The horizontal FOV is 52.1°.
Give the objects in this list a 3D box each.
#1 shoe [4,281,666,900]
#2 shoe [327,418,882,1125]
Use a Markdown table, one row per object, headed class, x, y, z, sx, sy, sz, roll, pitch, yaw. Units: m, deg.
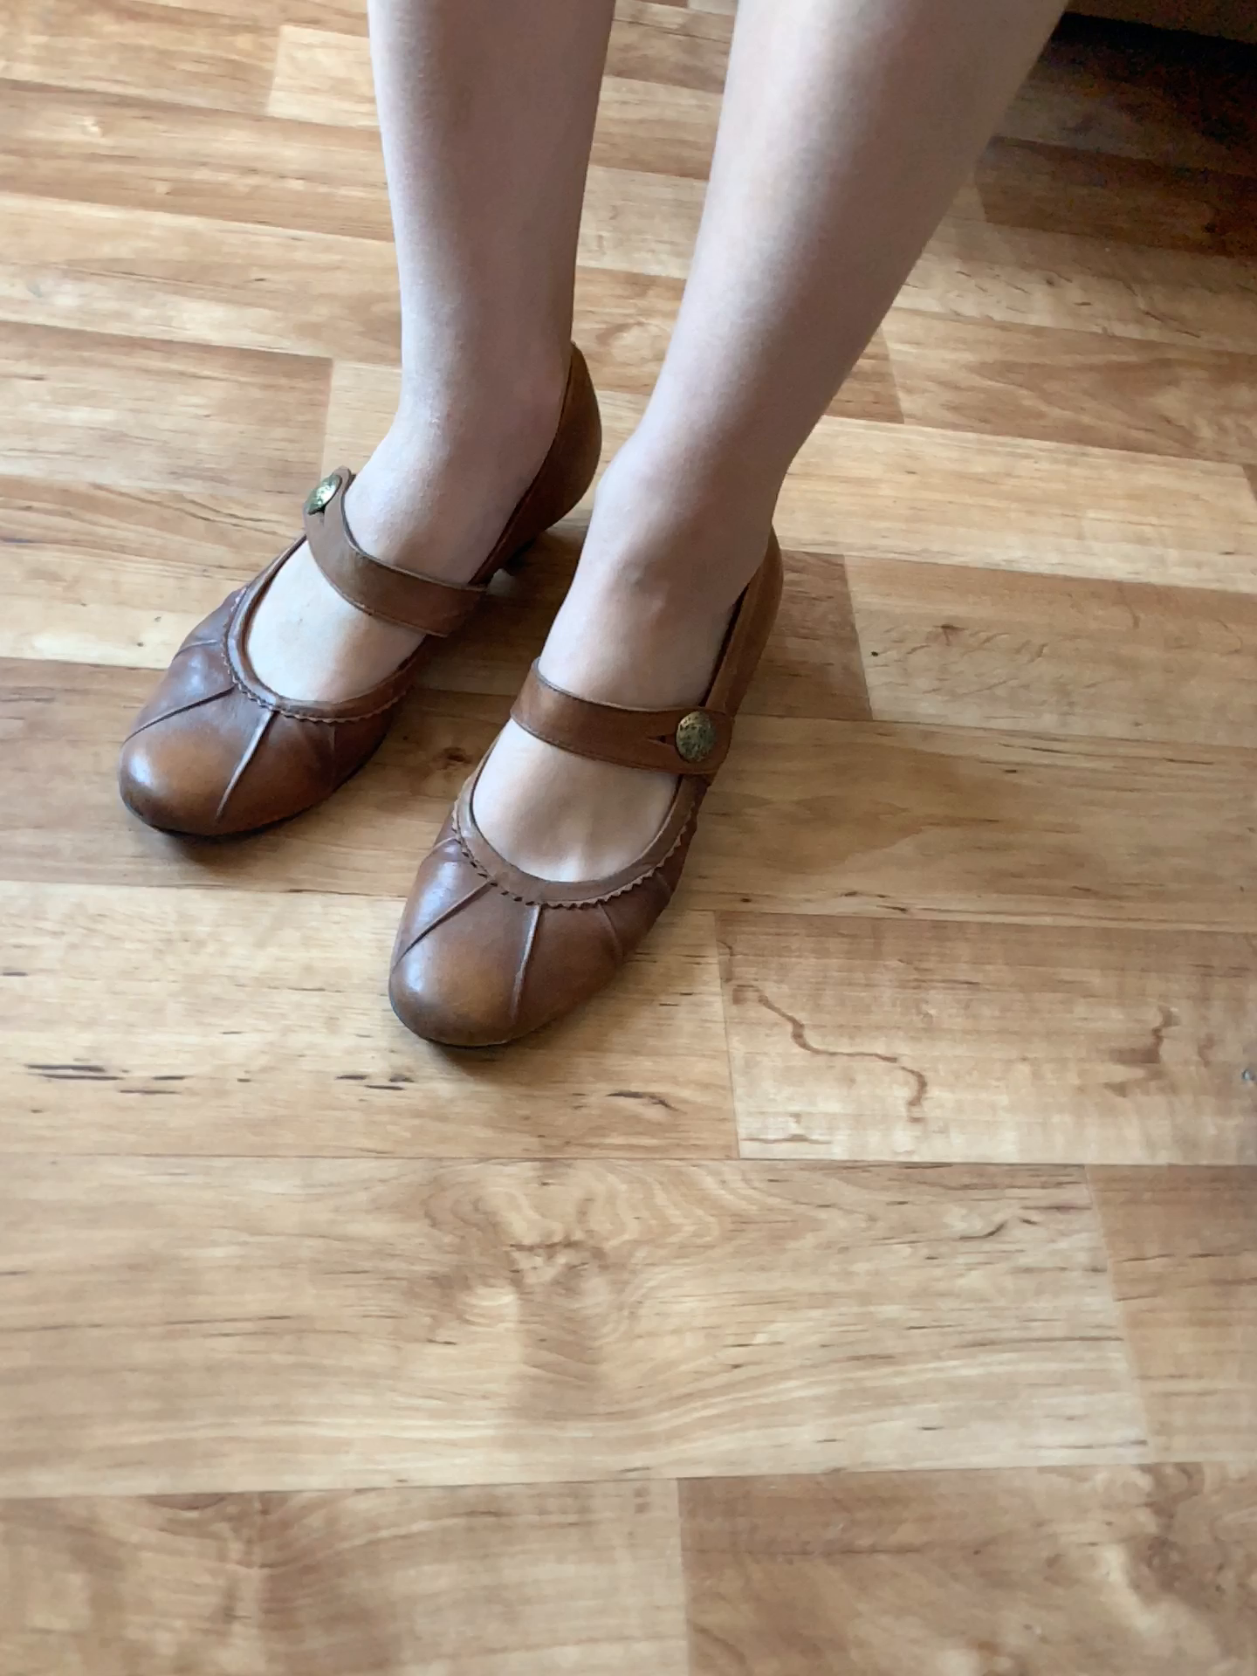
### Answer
| class | x | y | z | sx | sy | sz | roll | pitch | yaw |
| --- | --- | --- | --- | --- | --- | --- | --- | --- | --- |
| shoe | -0.100 | -0.106 | 0.505 | 0.090 | 0.090 | 0.251 | 35 | 58 | 11 |
| shoe | -0.002 | -0.035 | 0.480 | 0.090 | 0.090 | 0.251 | 27 | 57 | 6 |
